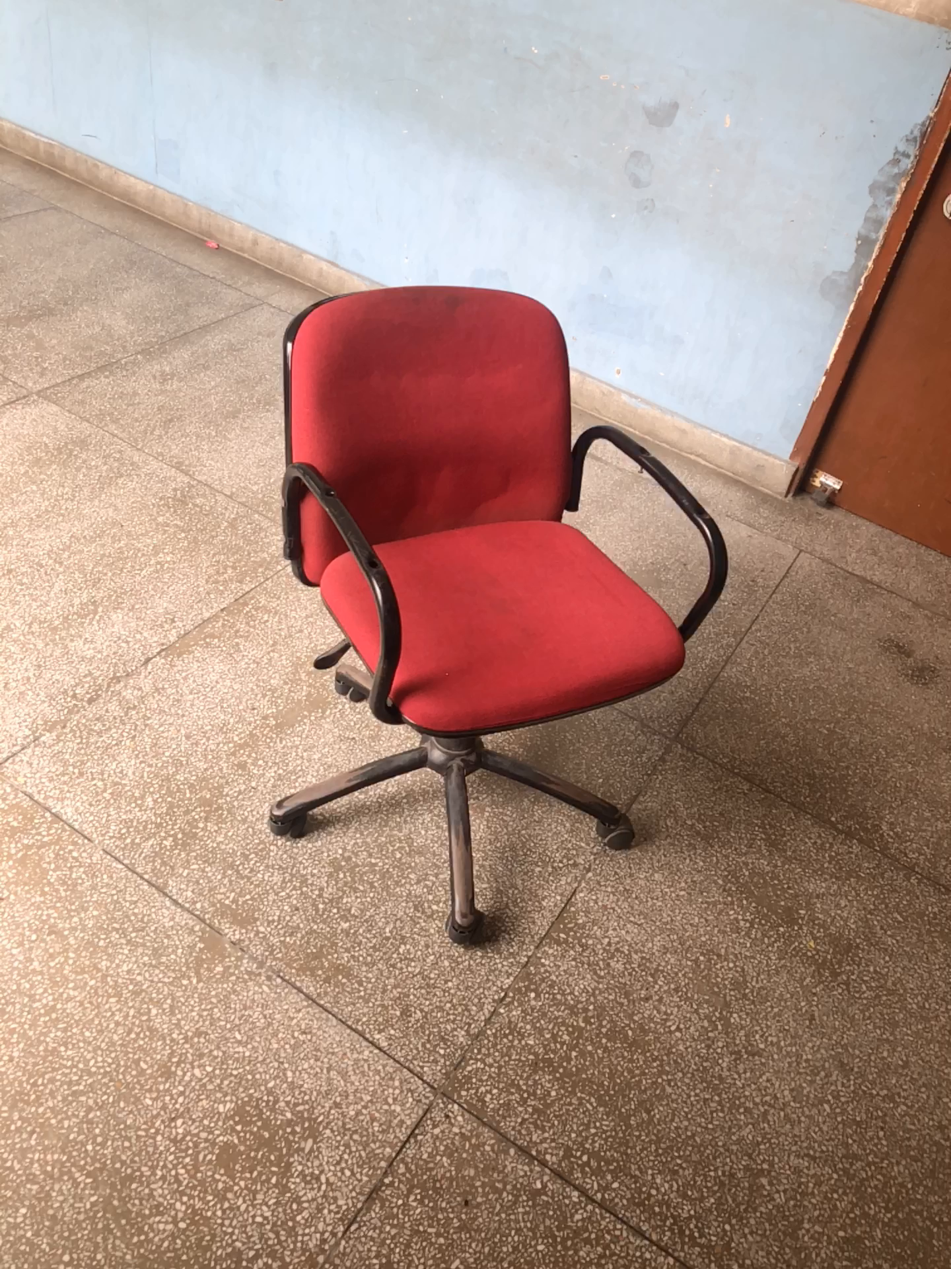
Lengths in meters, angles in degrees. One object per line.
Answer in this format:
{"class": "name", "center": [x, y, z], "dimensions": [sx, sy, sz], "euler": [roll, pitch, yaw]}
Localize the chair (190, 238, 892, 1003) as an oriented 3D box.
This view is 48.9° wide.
{"class": "chair", "center": [0.005, -0.057, 1.562], "dimensions": [0.651, 0.797, 0.641], "euler": [-15, 46, -29]}
